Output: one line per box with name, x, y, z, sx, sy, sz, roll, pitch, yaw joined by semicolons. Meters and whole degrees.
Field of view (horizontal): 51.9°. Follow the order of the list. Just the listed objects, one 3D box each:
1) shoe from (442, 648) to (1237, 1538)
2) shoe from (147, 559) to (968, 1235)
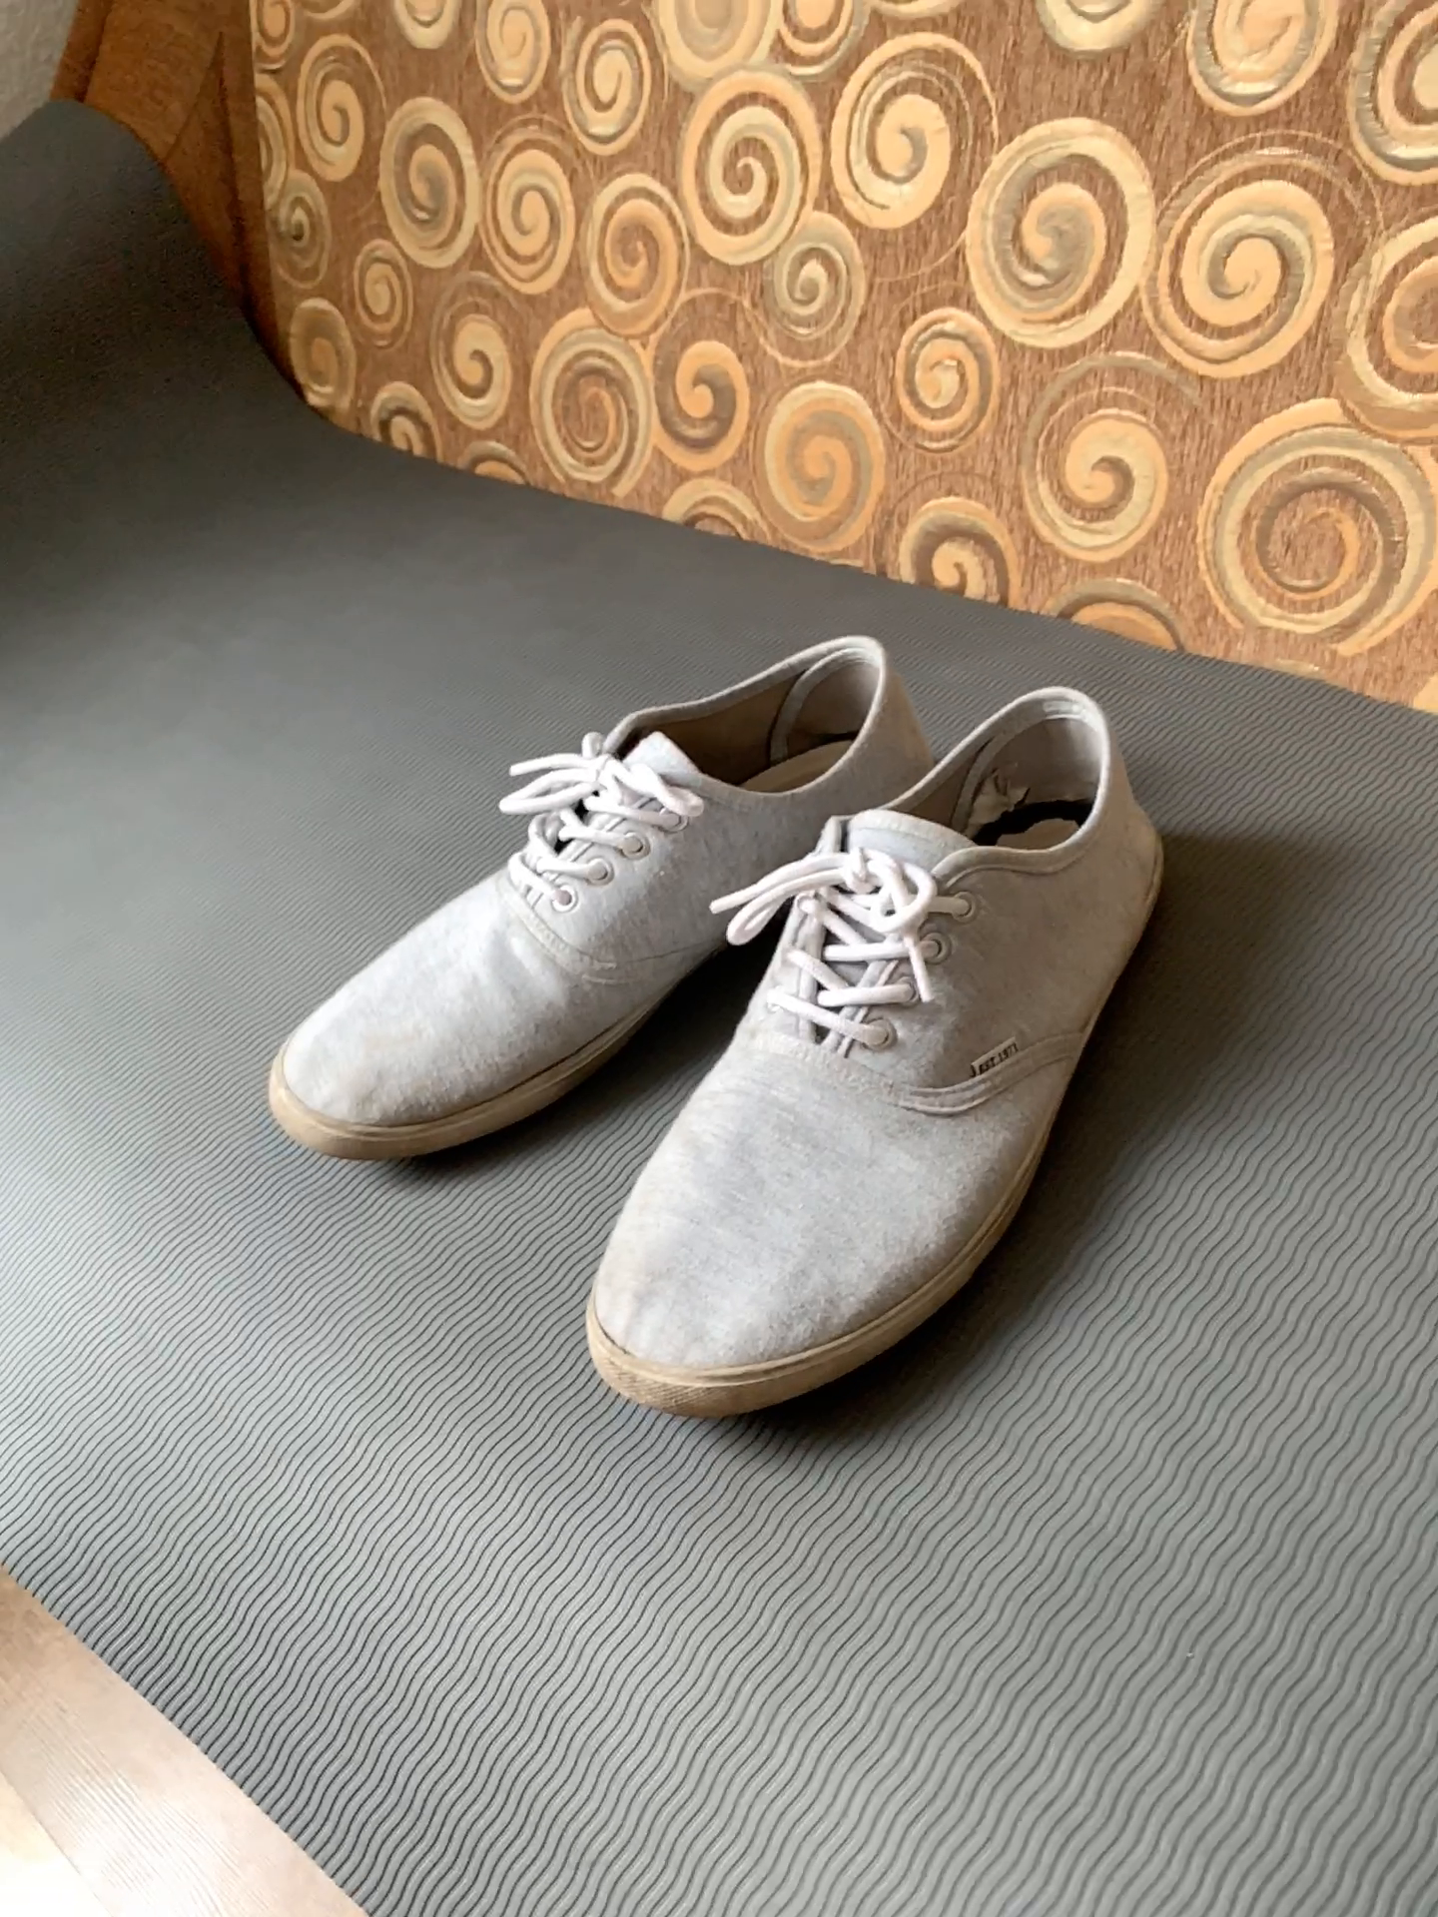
shoe;0.052;0.020;0.449;0.110;0.080;0.261;19;53;31
shoe;-0.049;-0.033;0.527;0.260;0.080;0.110;-33;46;-18
